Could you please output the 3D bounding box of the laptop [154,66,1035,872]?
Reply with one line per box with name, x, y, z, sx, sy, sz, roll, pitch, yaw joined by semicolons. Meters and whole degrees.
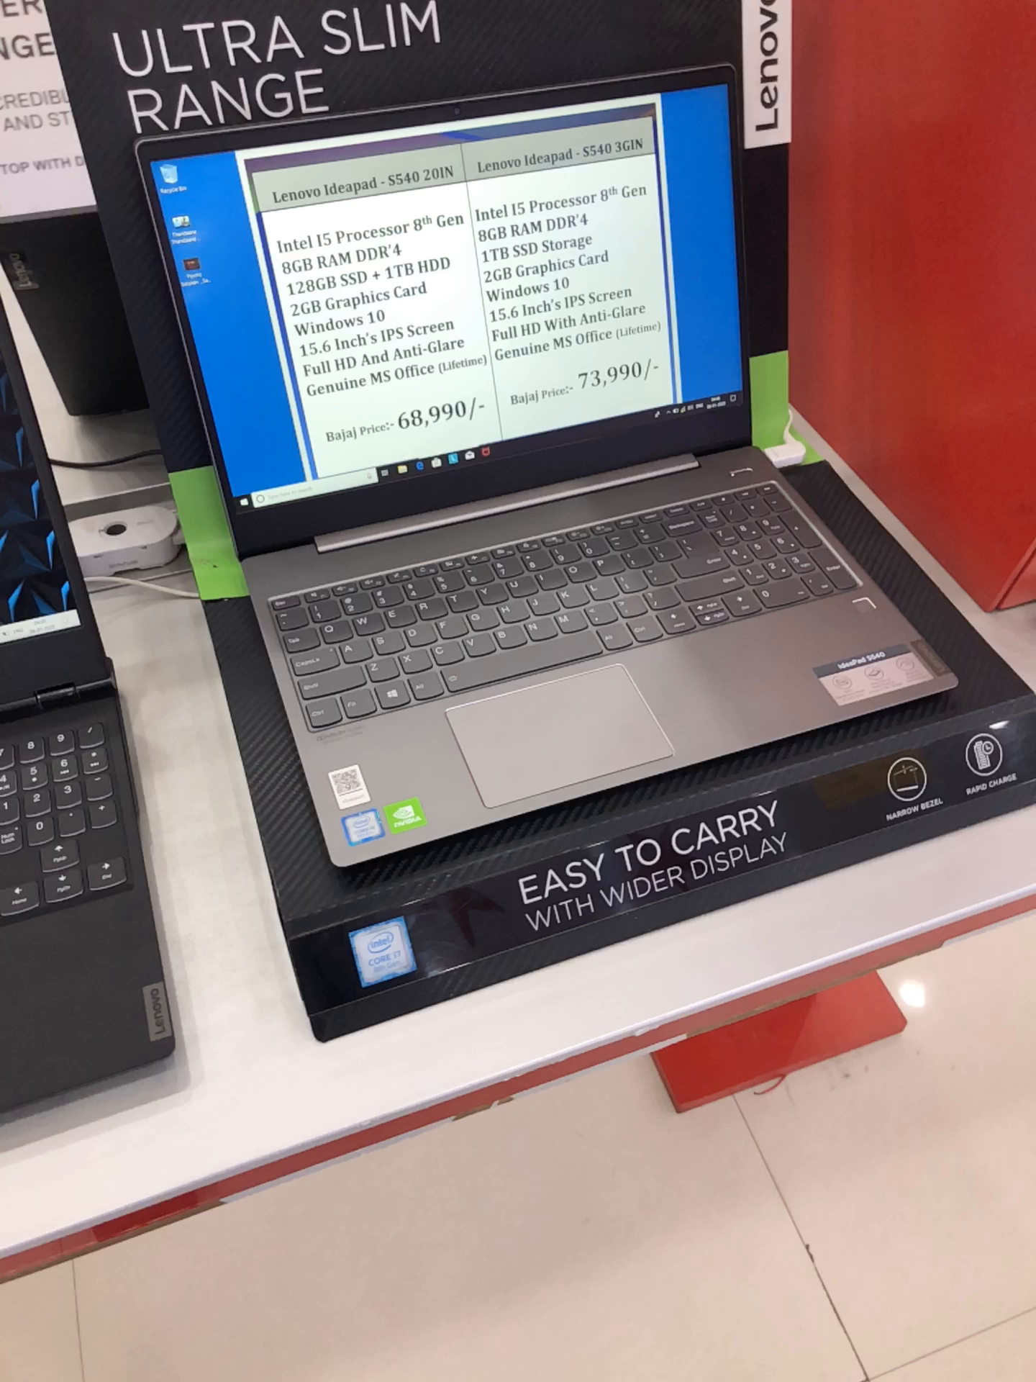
laptop;0.022;-0.142;0.599;0.336;0.194;0.325;-15;50;-15
